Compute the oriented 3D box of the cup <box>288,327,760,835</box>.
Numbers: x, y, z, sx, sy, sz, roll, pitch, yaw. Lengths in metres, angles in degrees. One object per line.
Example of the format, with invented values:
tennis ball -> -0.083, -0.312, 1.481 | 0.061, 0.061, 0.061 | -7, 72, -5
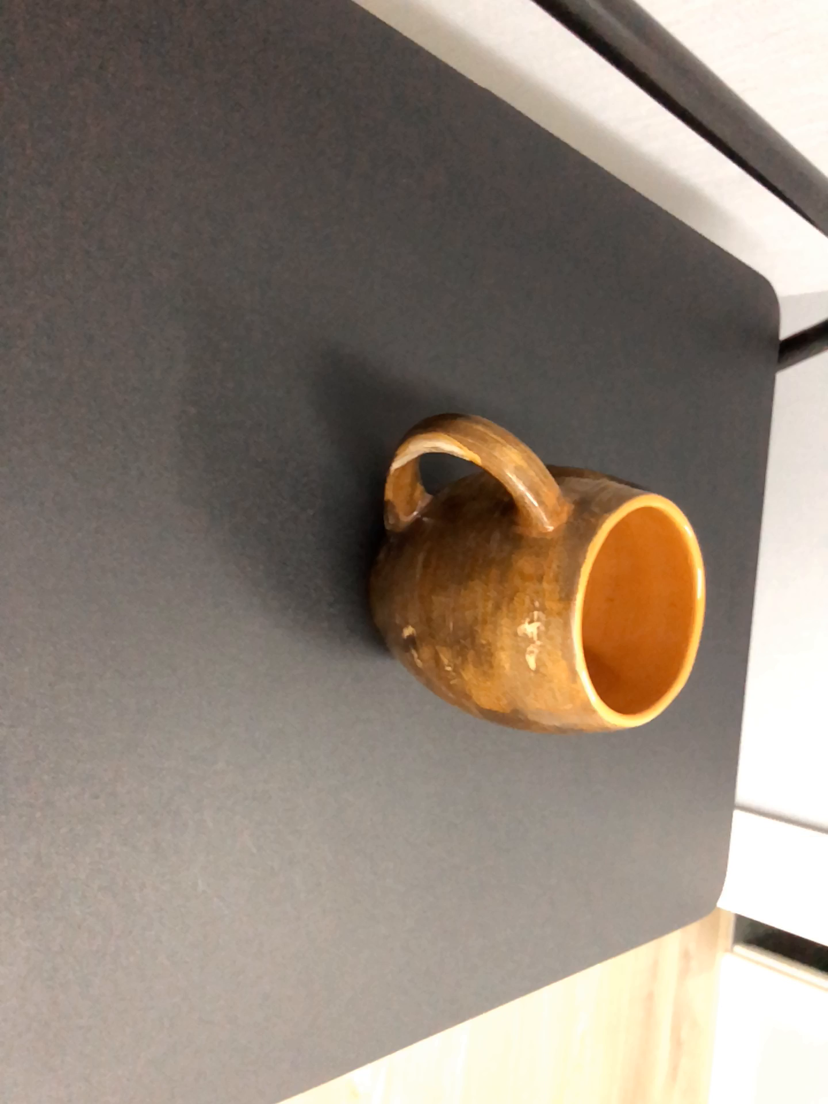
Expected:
cup -> 0.044, 0.008, 0.321 | 0.092, 0.092, 0.131 | -45, 123, -33
